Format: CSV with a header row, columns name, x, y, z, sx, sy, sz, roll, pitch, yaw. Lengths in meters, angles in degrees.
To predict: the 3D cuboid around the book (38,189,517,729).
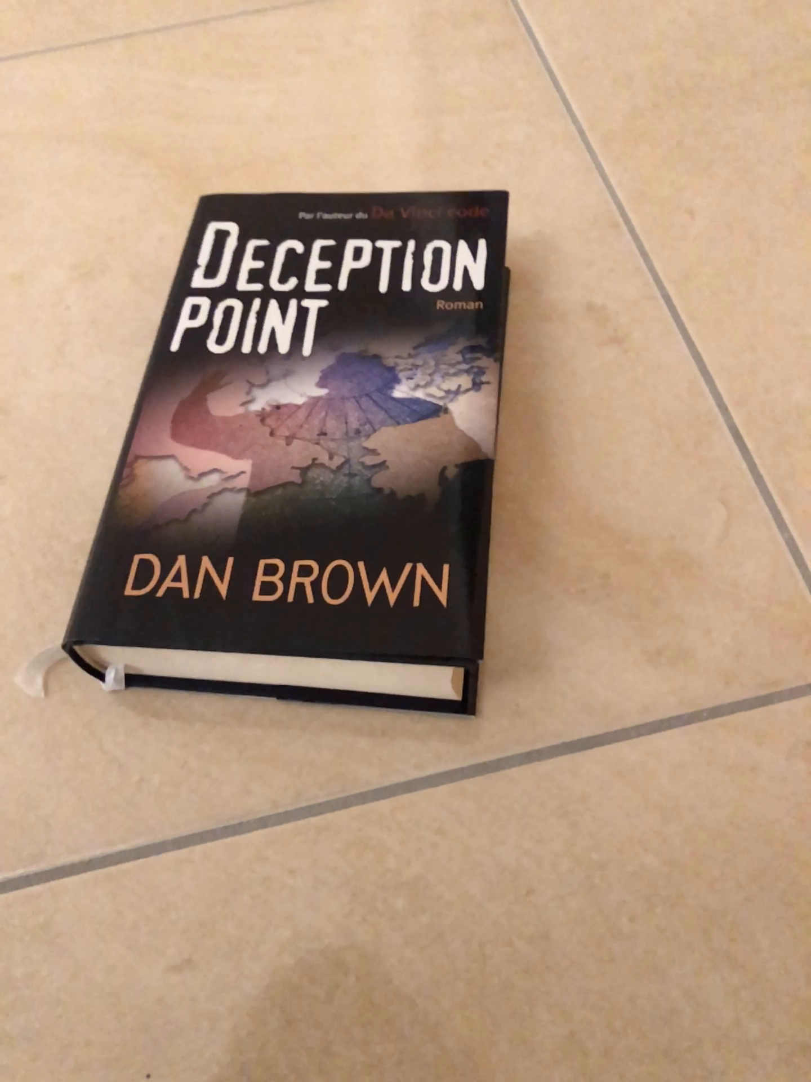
name,x,y,z,sx,sy,sz,roll,pitch,yaw
book,-0.032,-0.044,0.334,0.136,0.037,0.213,2,60,8
